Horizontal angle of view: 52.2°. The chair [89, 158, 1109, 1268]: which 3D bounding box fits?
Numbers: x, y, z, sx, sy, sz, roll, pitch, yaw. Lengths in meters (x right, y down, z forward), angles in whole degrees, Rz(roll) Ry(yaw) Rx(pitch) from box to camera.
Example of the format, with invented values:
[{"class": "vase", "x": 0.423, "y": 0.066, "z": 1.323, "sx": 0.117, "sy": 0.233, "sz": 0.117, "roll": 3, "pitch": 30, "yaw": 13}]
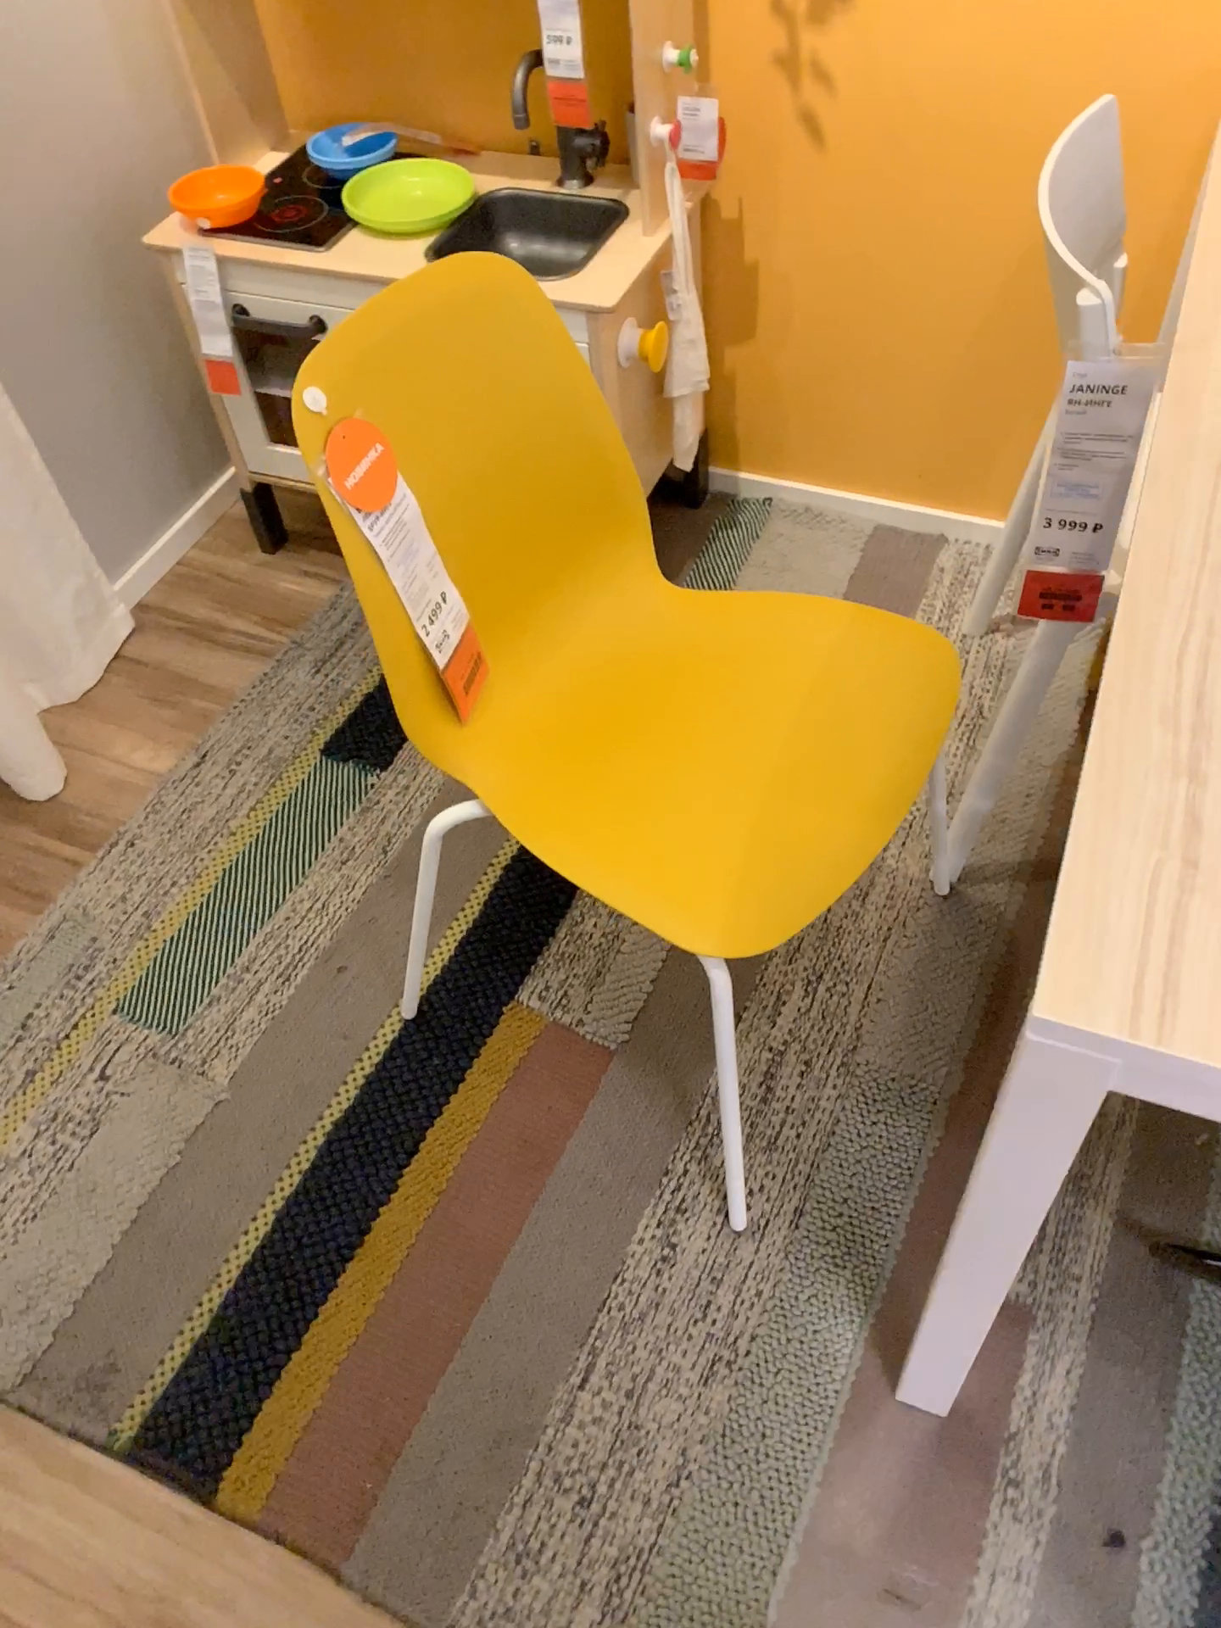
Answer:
[{"class": "chair", "x": 0.040, "y": -0.073, "z": 1.234, "sx": 0.555, "sy": 0.809, "sz": 0.559, "roll": 21, "pitch": 56, "yaw": 21}]
